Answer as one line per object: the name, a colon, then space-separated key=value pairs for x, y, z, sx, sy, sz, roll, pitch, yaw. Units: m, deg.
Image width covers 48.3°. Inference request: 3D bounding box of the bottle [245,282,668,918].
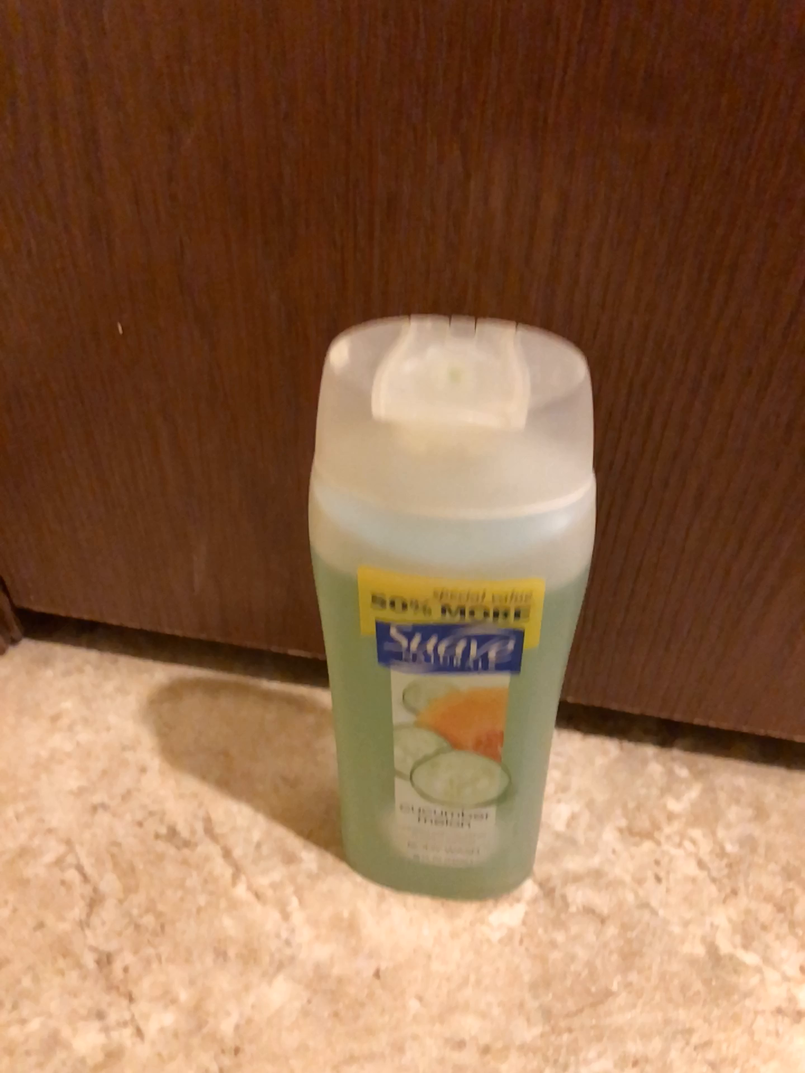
bottle: x=0.014 y=0.042 z=0.291 sx=0.090 sy=0.240 sz=0.050 roll=4 pitch=43 yaw=5
